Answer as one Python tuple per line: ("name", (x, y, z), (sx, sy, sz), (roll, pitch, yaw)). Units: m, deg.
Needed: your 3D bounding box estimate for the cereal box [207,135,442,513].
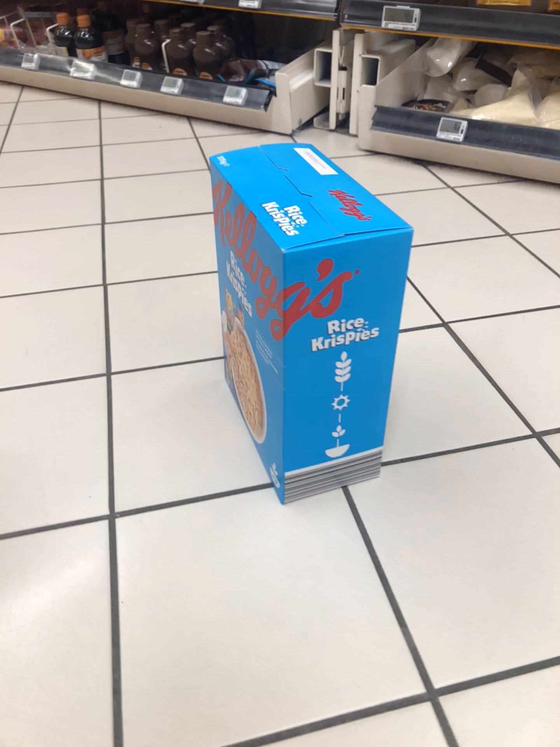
("cereal box", (0.022, -0.048, 0.529), (0.110, 0.239, 0.201), (-11, 39, -14))
